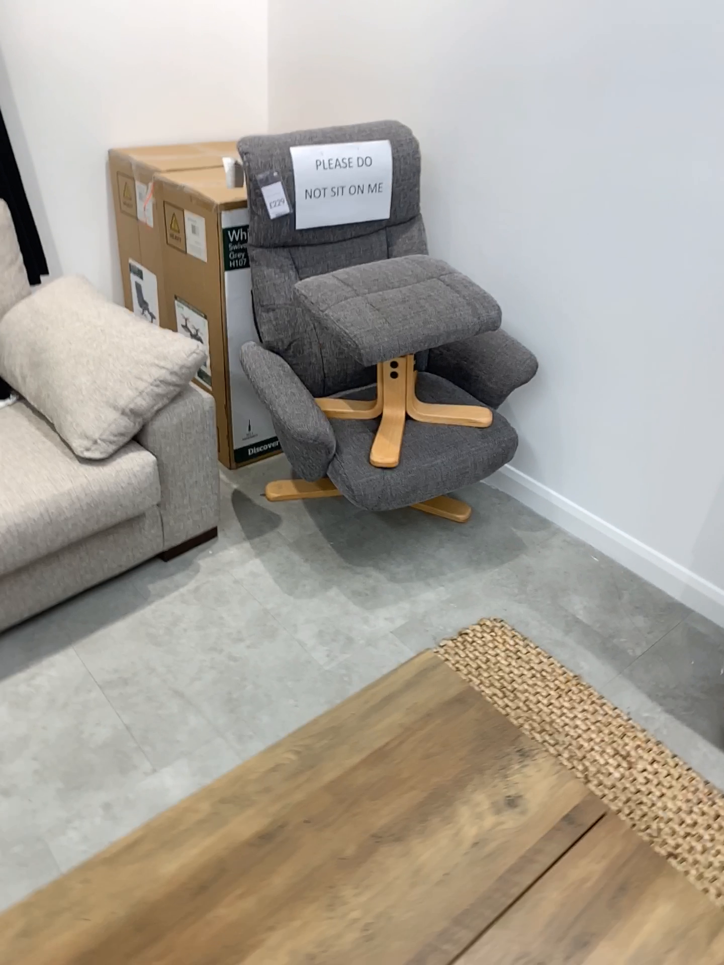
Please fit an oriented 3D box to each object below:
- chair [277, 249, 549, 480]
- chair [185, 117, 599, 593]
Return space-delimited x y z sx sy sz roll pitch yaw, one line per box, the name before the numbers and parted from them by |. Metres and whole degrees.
chair | 0.108 -0.337 1.925 0.483 0.351 0.483 -18 39 -29
chair | 0.023 -0.400 2.034 0.703 0.975 0.724 -18 40 -30
